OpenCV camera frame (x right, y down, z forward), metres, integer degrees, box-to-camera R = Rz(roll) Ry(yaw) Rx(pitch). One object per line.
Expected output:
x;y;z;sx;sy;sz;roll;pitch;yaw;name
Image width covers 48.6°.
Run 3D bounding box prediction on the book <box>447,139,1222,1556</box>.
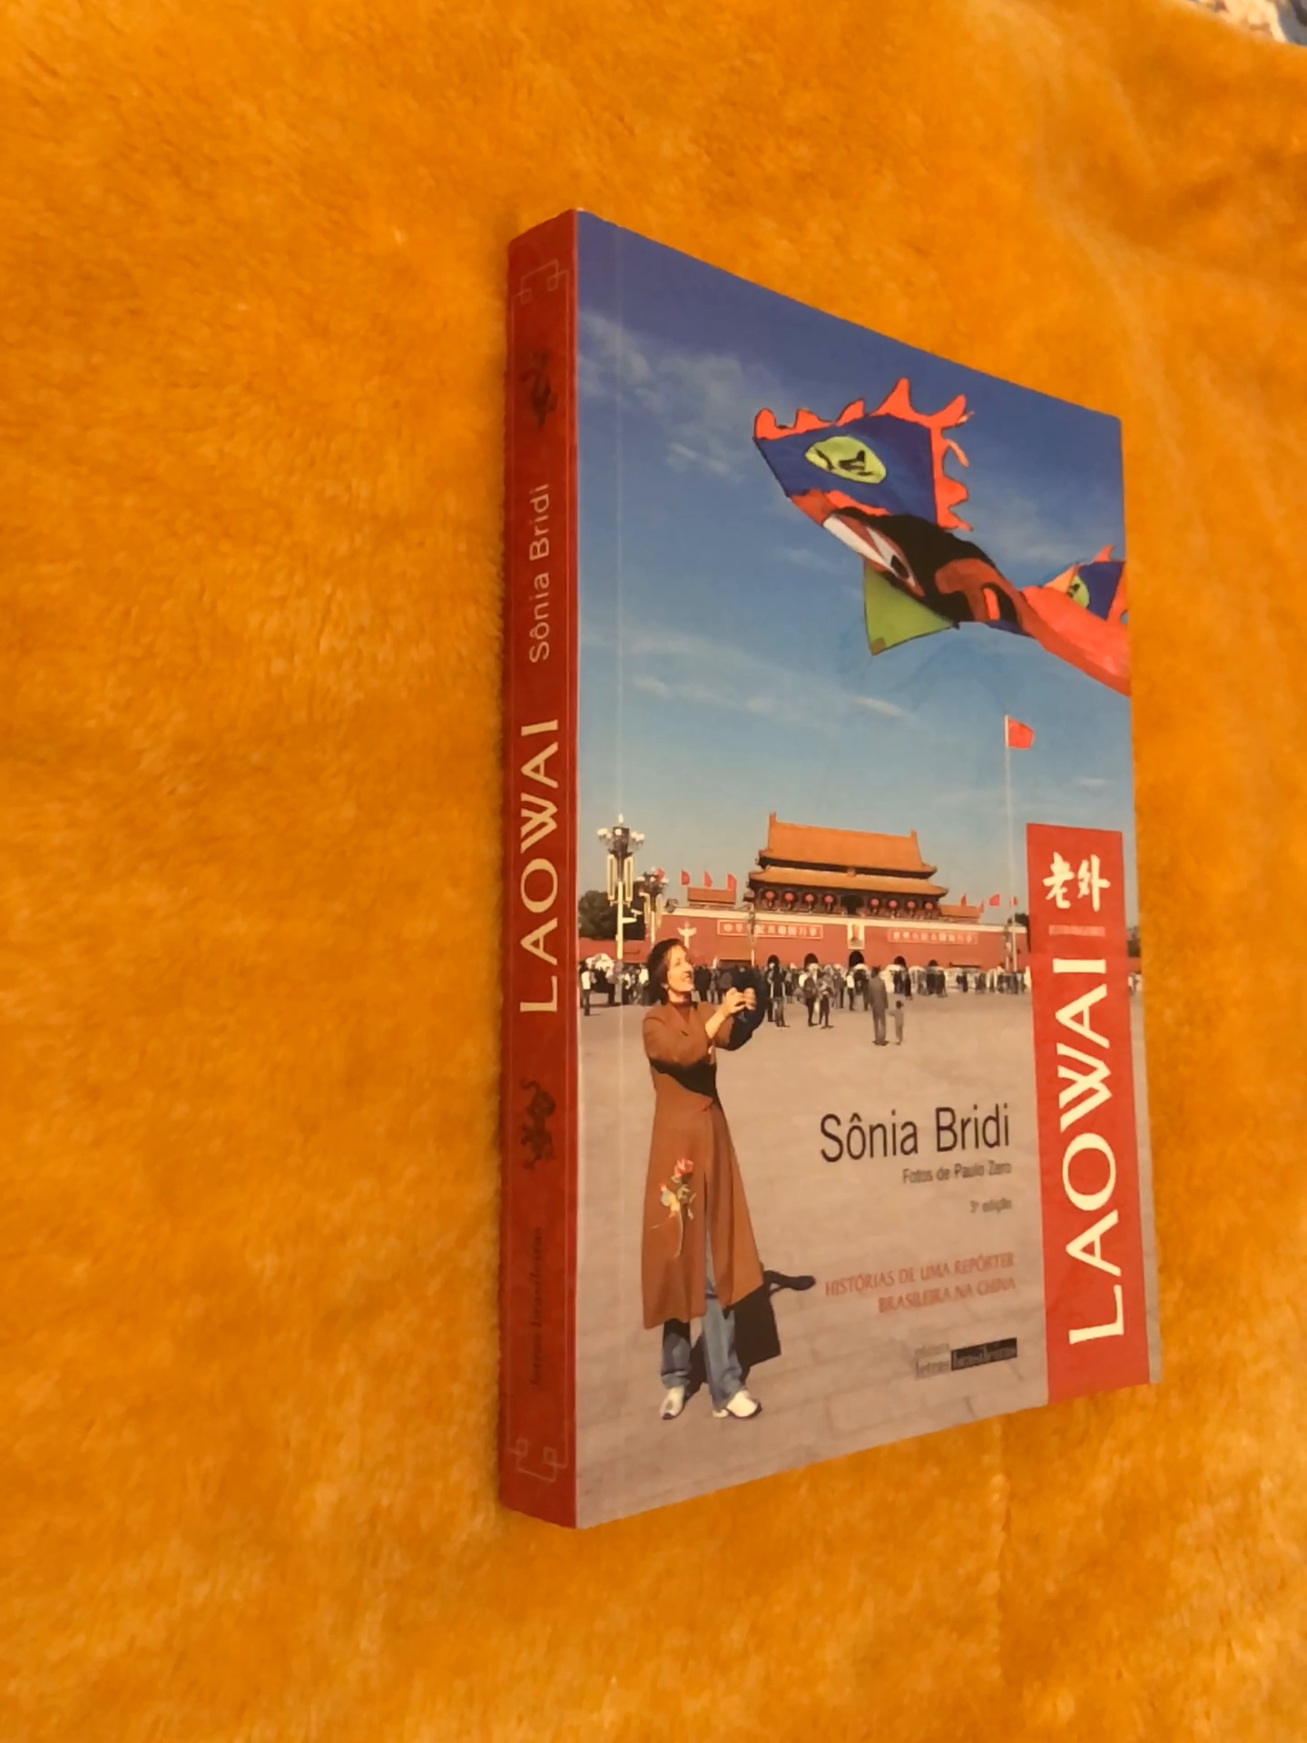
0.043;-0.005;0.306;0.171;0.040;0.240;3;83;-33;book
